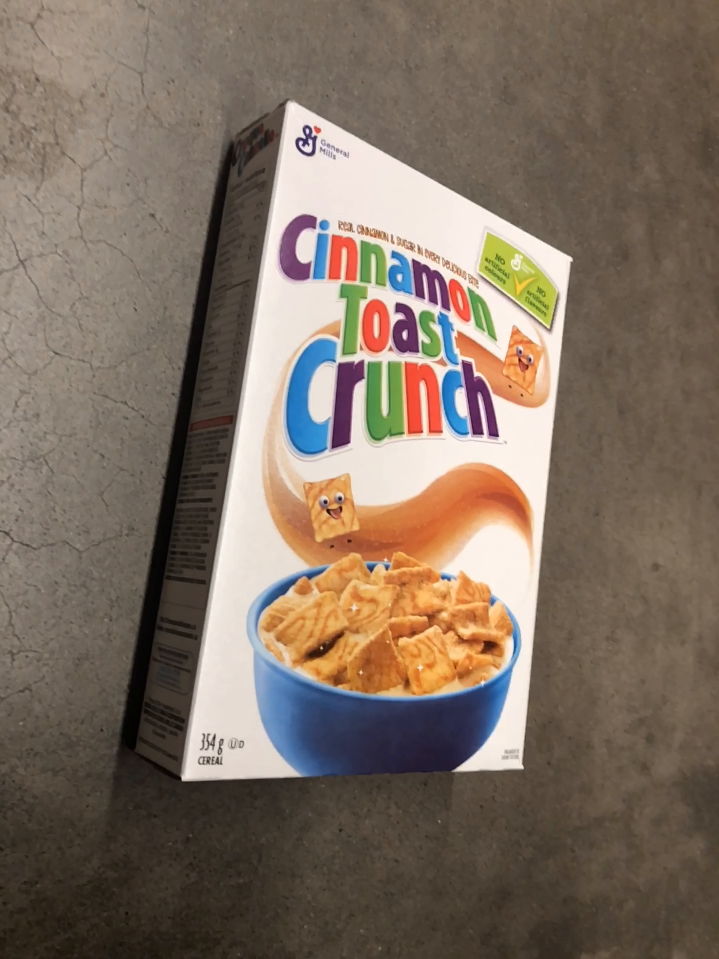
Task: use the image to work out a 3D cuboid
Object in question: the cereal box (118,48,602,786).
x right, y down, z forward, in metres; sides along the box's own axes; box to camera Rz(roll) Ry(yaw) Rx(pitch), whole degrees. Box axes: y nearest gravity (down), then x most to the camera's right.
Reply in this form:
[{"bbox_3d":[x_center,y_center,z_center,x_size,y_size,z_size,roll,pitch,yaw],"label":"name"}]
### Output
[{"bbox_3d":[0.016,-0.013,0.385,0.200,0.060,0.290,13,82,-35],"label":"cereal box"}]
